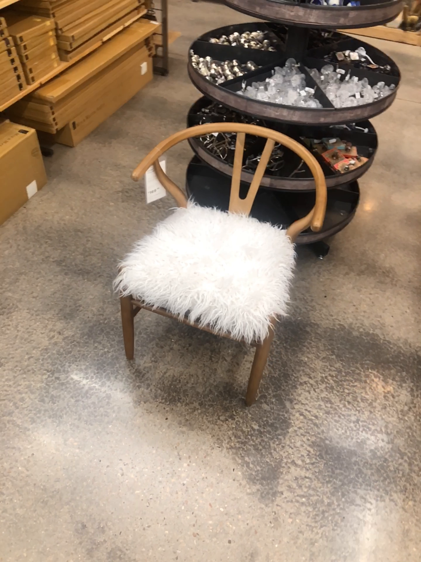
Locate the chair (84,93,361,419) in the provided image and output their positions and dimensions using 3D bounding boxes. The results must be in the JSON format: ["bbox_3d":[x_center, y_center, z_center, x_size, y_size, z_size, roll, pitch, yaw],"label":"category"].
[{"bbox_3d":[0.041,-0.071,1.467,0.557,0.732,0.531,21,48,15],"label":"chair"}]
